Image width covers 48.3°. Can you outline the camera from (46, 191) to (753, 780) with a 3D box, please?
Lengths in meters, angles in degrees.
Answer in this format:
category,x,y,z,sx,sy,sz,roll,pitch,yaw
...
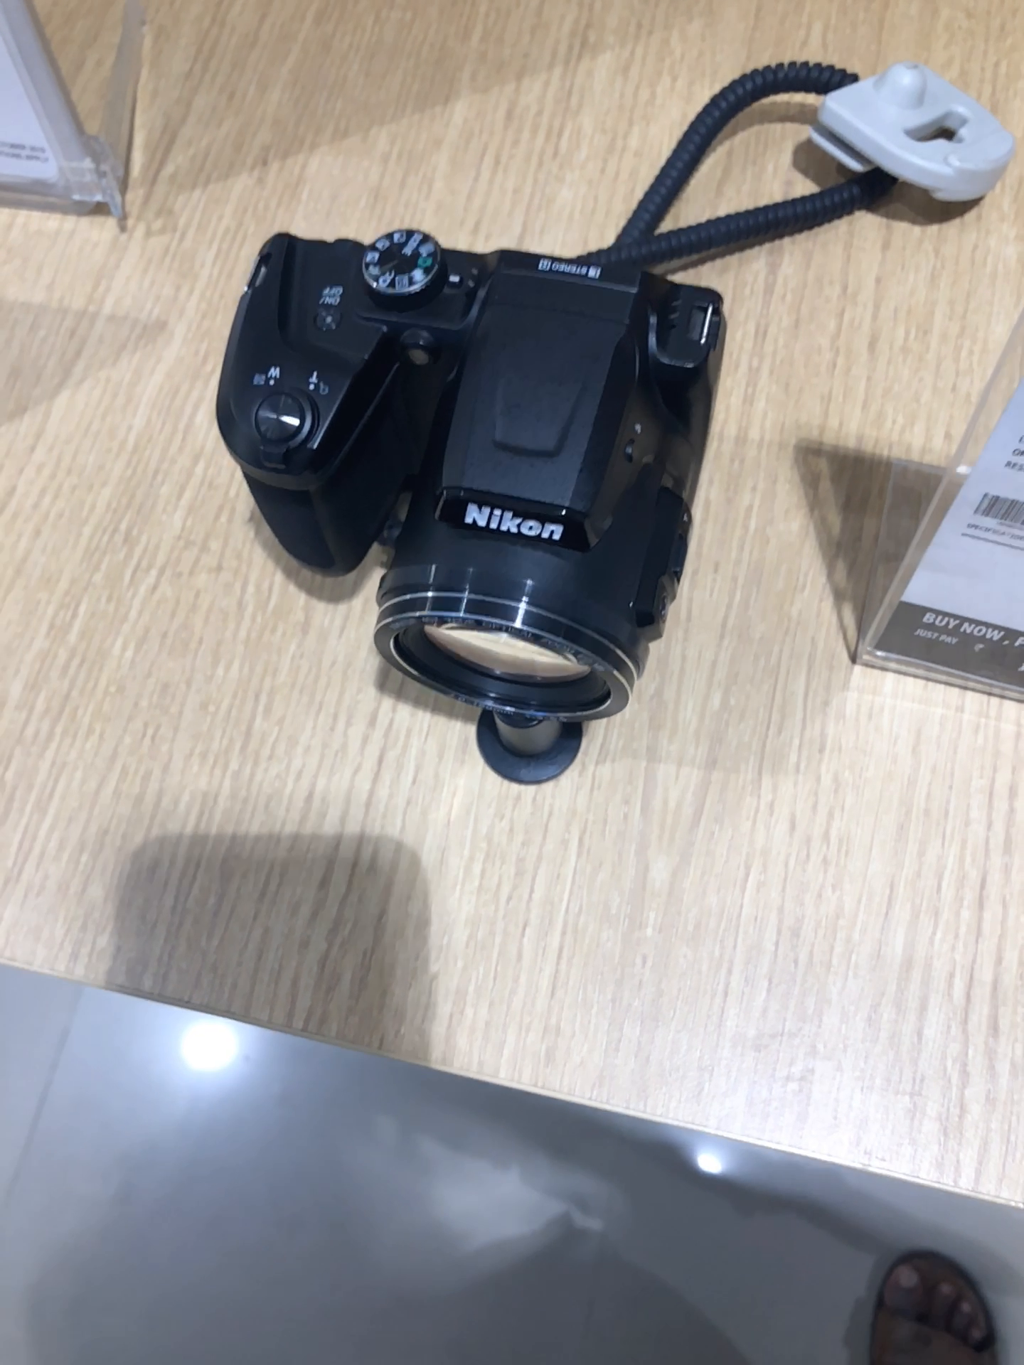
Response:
category,x,y,z,sx,sy,sz,roll,pitch,yaw
camera,-0.017,-0.041,0.254,0.120,0.070,0.090,10,71,8
